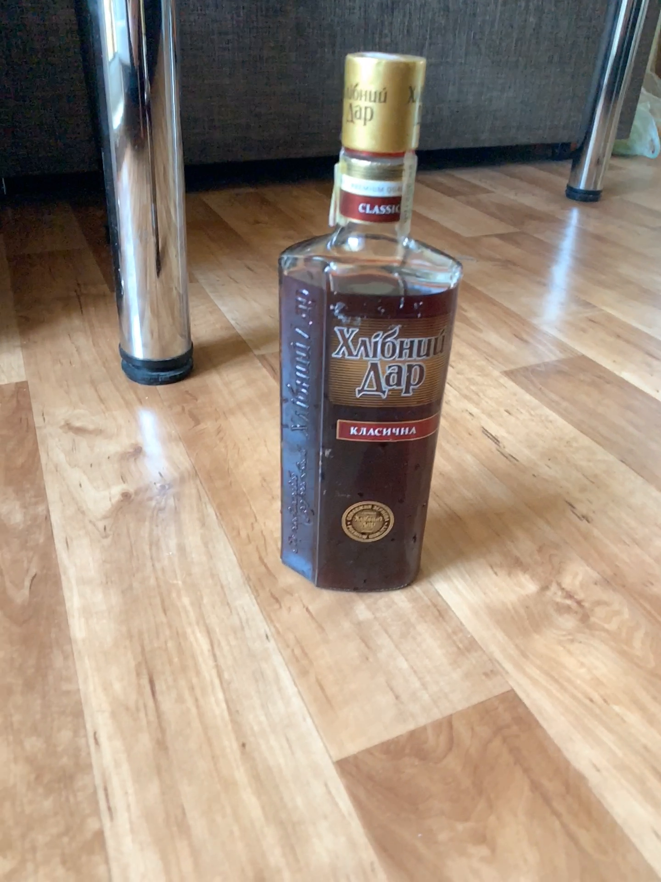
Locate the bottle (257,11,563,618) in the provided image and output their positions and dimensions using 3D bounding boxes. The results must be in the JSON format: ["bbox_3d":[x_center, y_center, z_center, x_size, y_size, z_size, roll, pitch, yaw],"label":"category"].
[{"bbox_3d":[0.023,-0.037,0.284,0.090,0.239,0.050,9,34,10],"label":"bottle"}]
